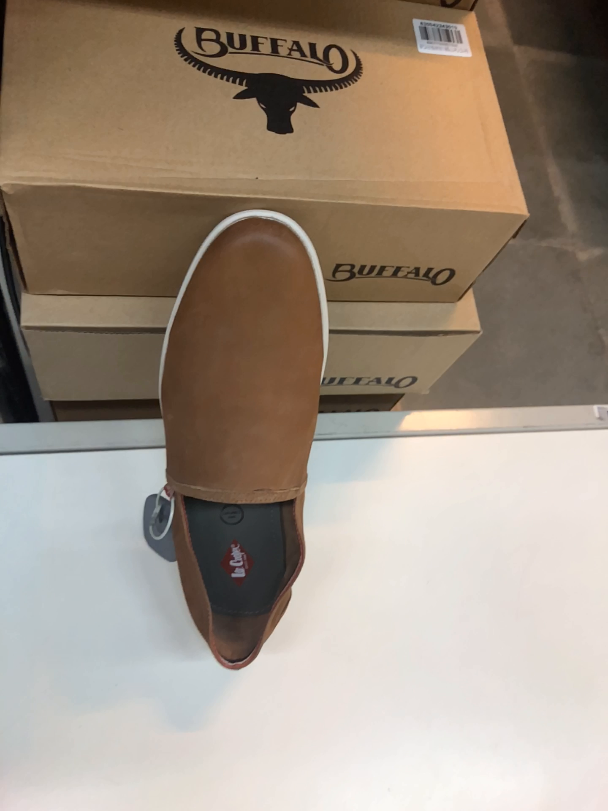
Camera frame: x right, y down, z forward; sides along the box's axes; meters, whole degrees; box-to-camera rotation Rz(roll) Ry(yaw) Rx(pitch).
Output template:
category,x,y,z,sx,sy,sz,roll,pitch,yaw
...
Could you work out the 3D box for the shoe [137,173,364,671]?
category,x,y,z,sx,sy,sz,roll,pitch,yaw
shoe,-0.047,0.010,0.475,0.113,0.310,0.149,4,21,-7
